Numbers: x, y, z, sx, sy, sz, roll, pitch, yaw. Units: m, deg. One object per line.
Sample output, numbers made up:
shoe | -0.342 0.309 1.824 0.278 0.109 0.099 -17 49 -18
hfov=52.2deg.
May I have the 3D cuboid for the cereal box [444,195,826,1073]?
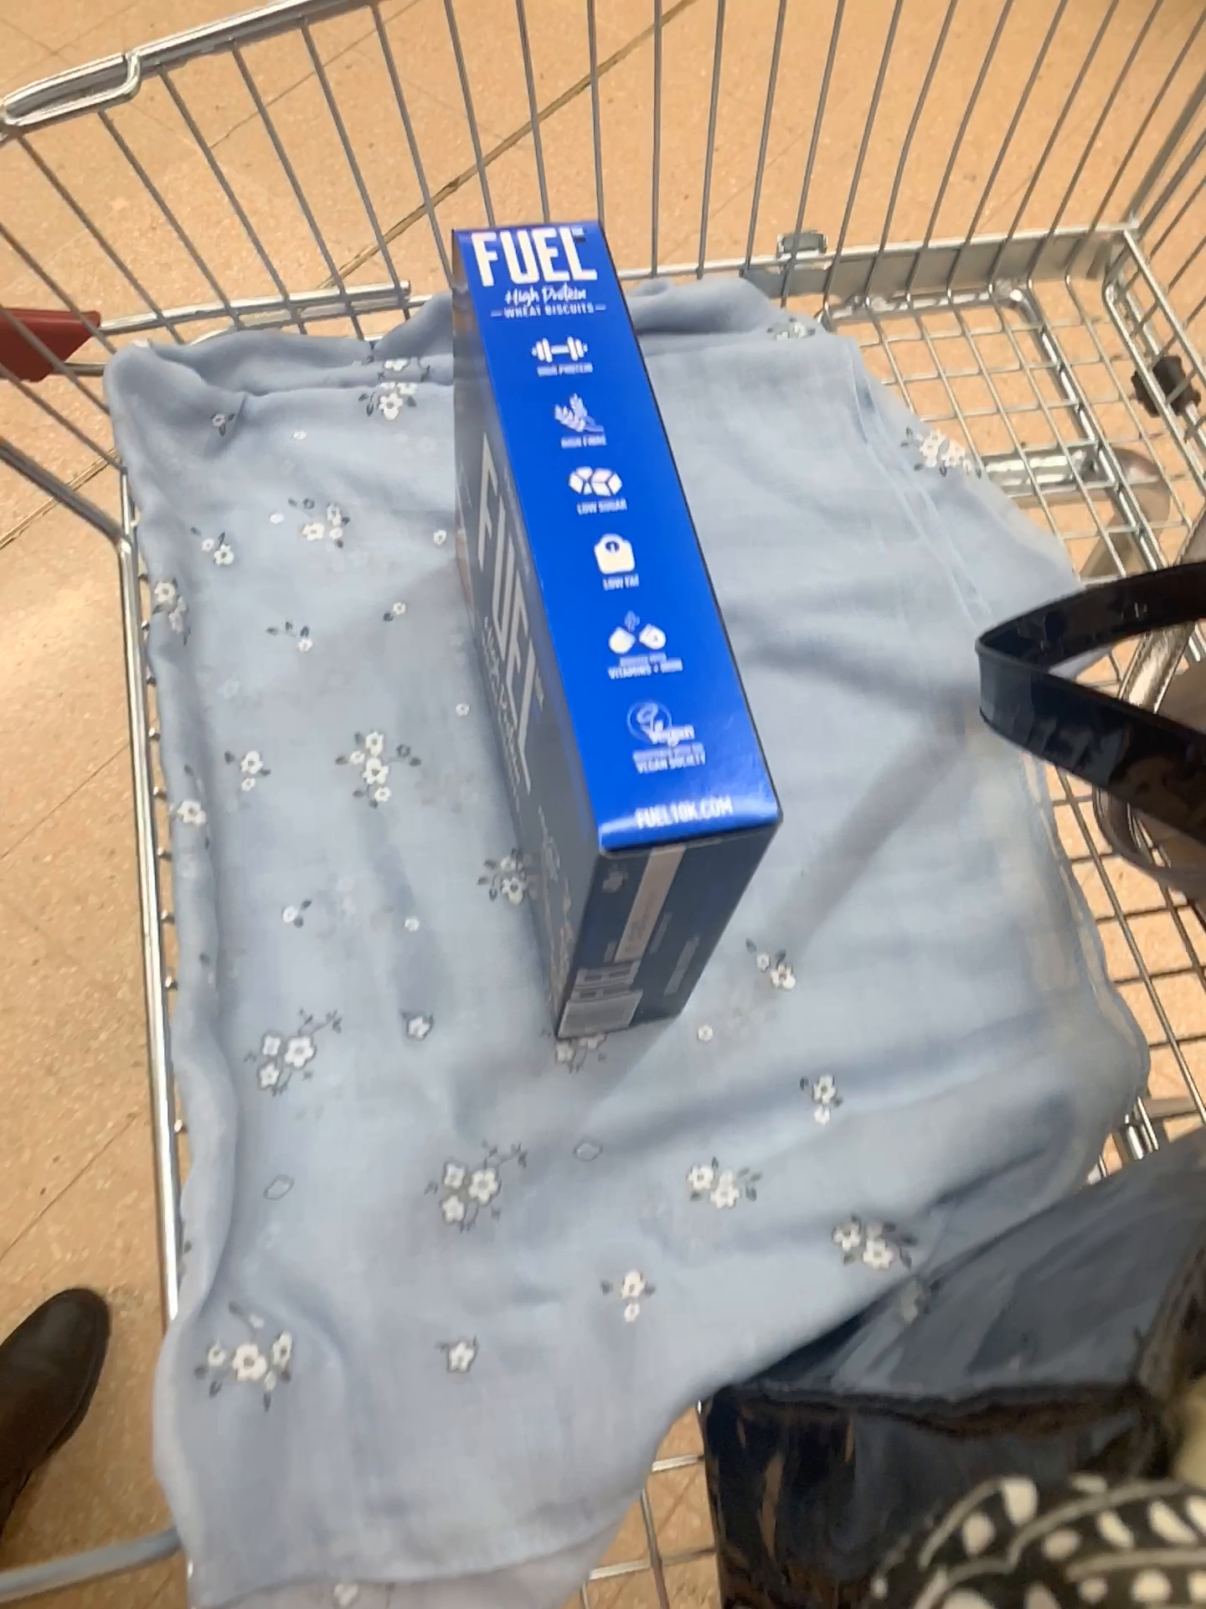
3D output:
cereal box | -0.003 -0.050 0.465 0.060 0.209 0.251 -10 66 -8
